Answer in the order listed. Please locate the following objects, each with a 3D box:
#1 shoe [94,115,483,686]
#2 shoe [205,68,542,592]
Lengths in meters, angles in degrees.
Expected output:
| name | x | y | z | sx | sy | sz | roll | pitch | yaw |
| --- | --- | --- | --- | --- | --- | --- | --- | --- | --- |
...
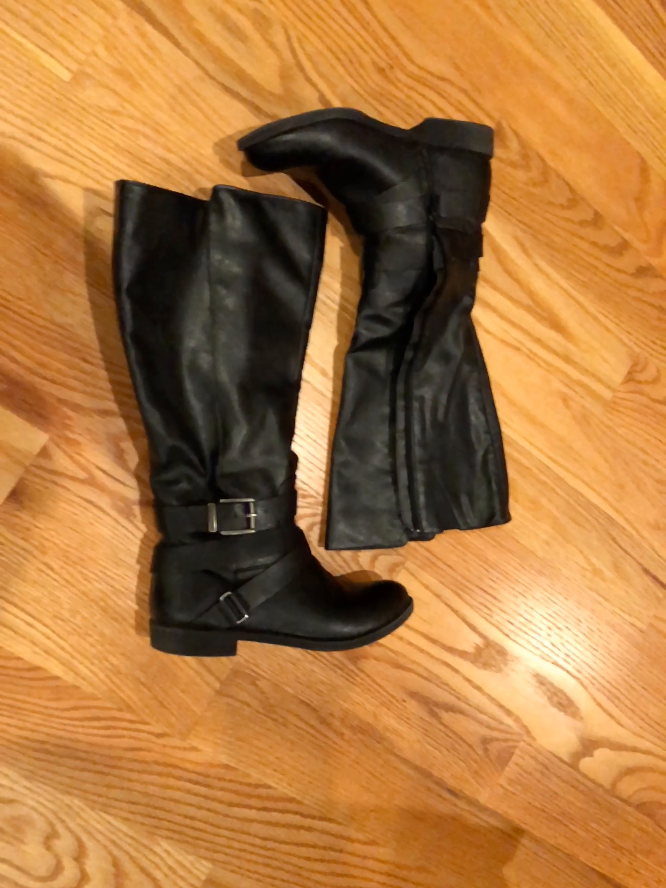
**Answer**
| name | x | y | z | sx | sy | sz | roll | pitch | yaw |
| --- | --- | --- | --- | --- | --- | --- | --- | --- | --- |
| shoe | -0.041 | -0.026 | 0.612 | 0.291 | 0.104 | 0.403 | 2 | 93 | -19 |
| shoe | 0.033 | -0.080 | 0.634 | 0.250 | 0.094 | 0.393 | 3 | 92 | -19 |
